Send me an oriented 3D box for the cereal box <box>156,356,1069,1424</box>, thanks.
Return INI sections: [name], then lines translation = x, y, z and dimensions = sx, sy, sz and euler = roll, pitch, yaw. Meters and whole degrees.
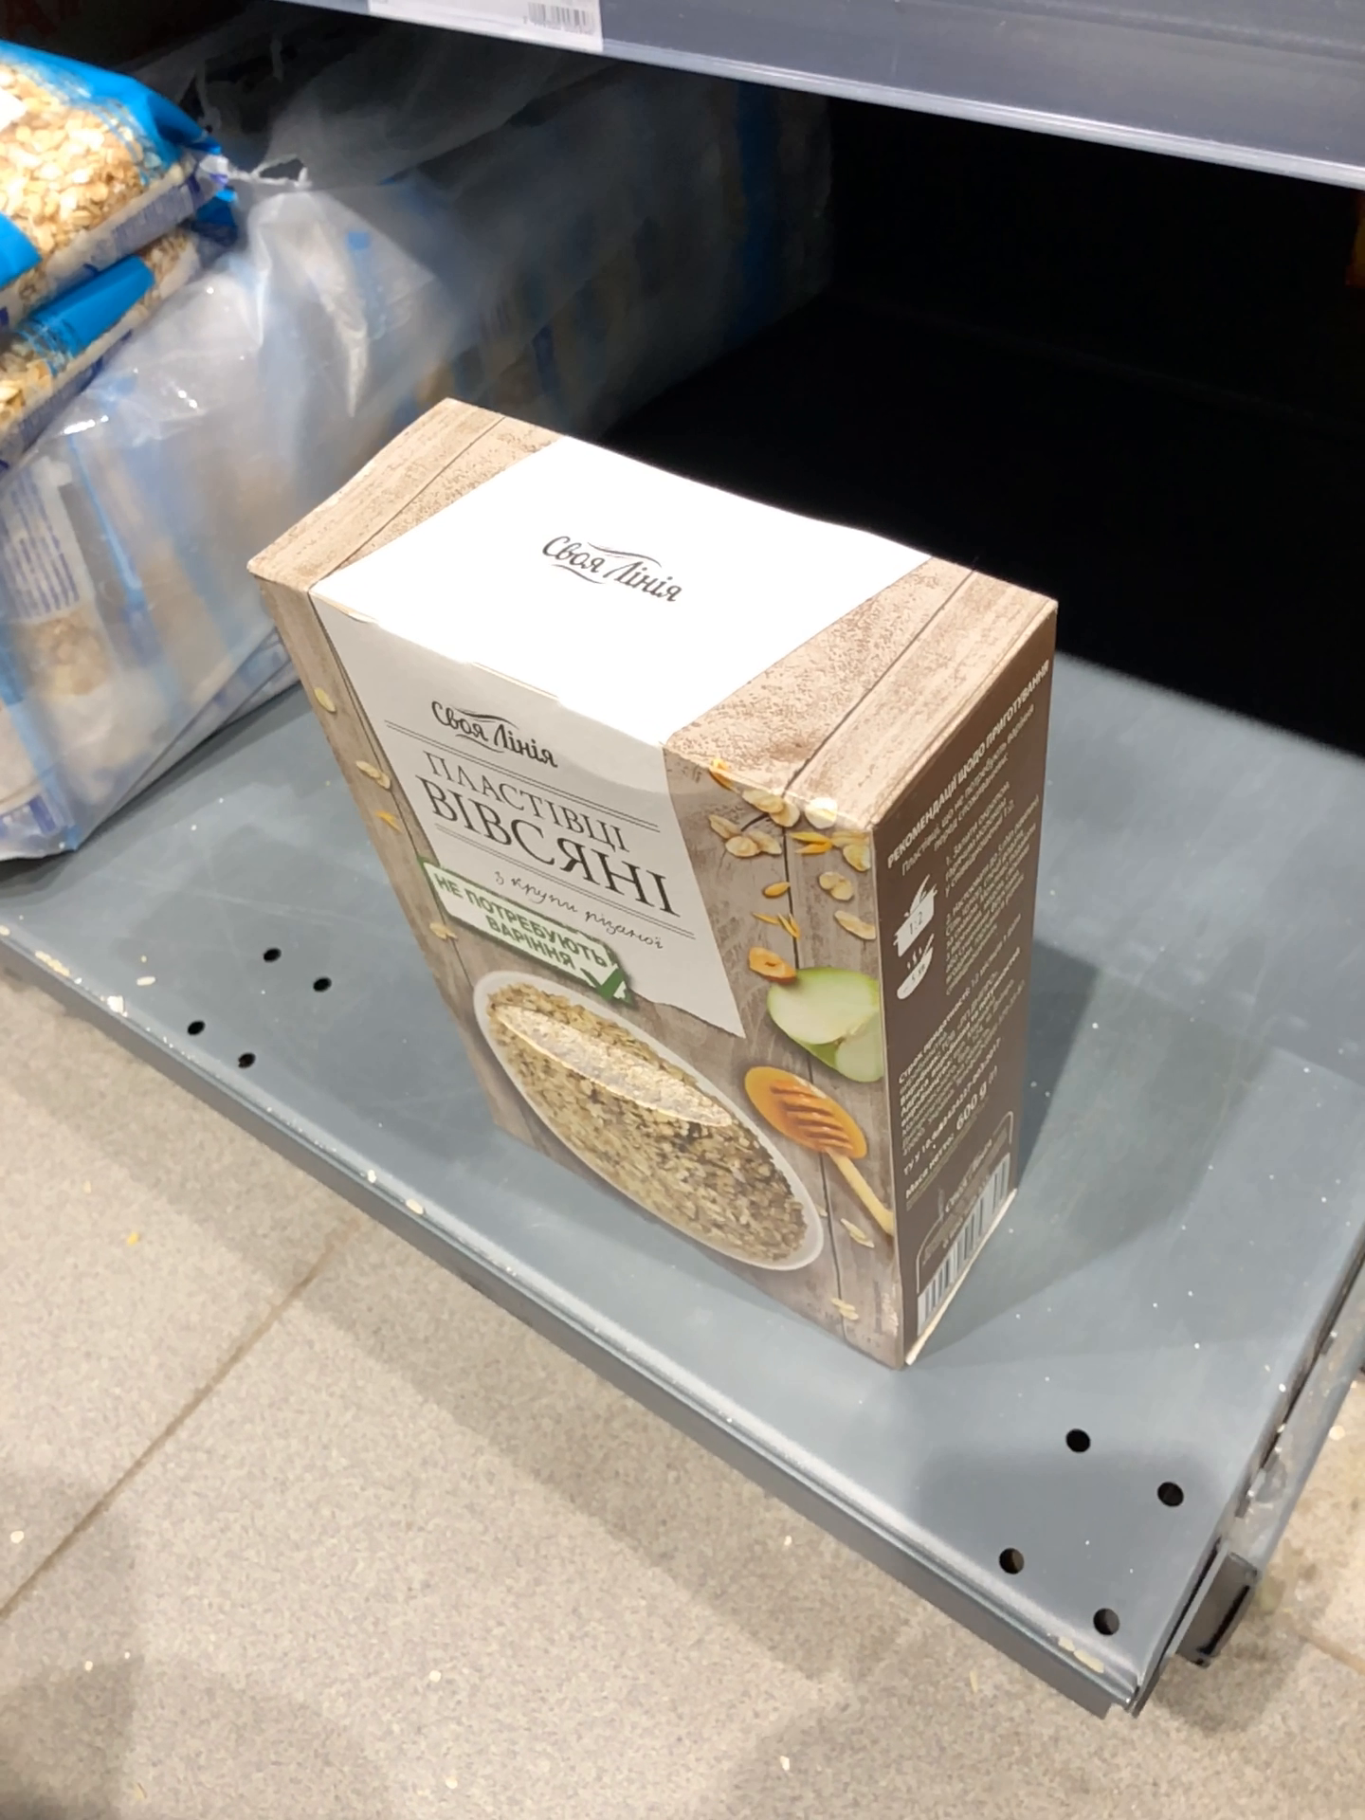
[cereal box]
translation = -0.002, 0.009, 0.353
dimensions = 0.150, 0.228, 0.070
euler = 26, 61, 27
